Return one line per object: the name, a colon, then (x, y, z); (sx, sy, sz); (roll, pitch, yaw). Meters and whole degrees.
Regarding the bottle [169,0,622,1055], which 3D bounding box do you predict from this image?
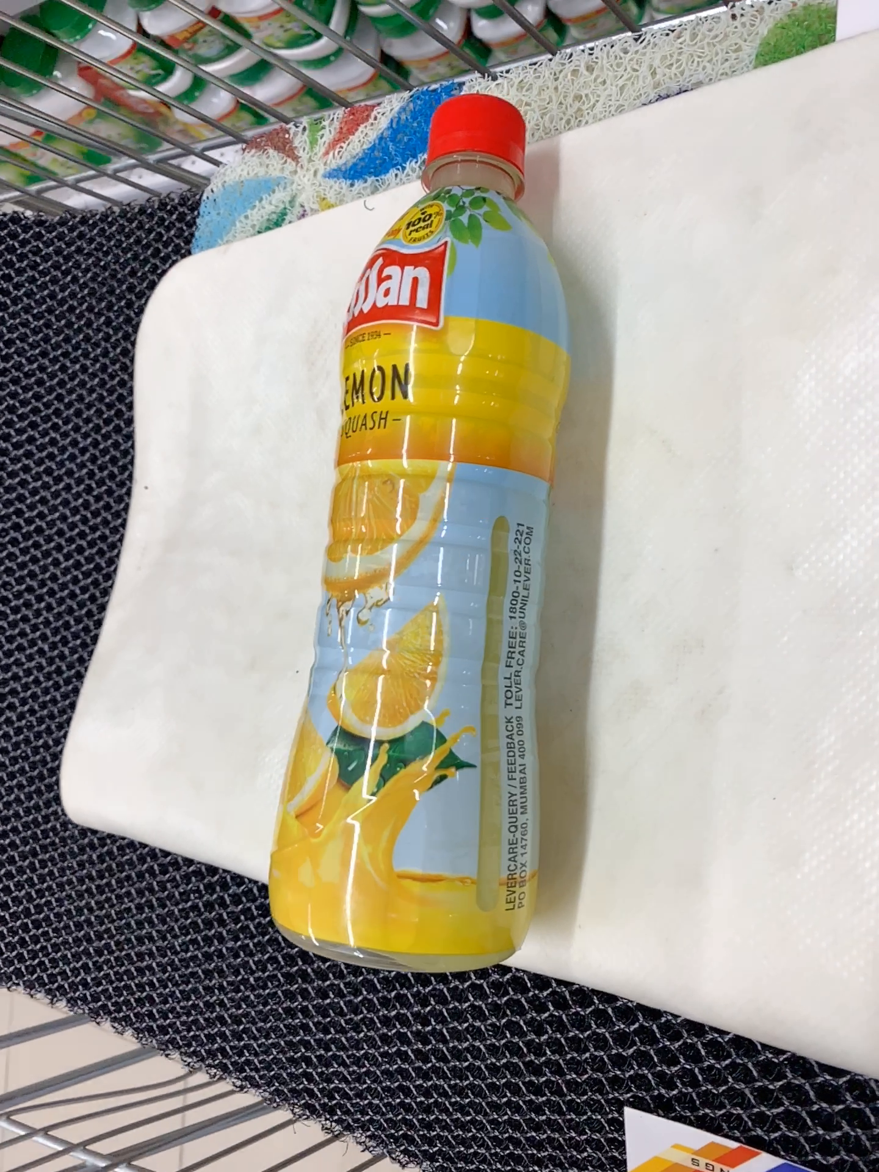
bottle: (-0.008, -0.017, 0.242); (0.080, 0.070, 0.230); (2, 87, 31)
